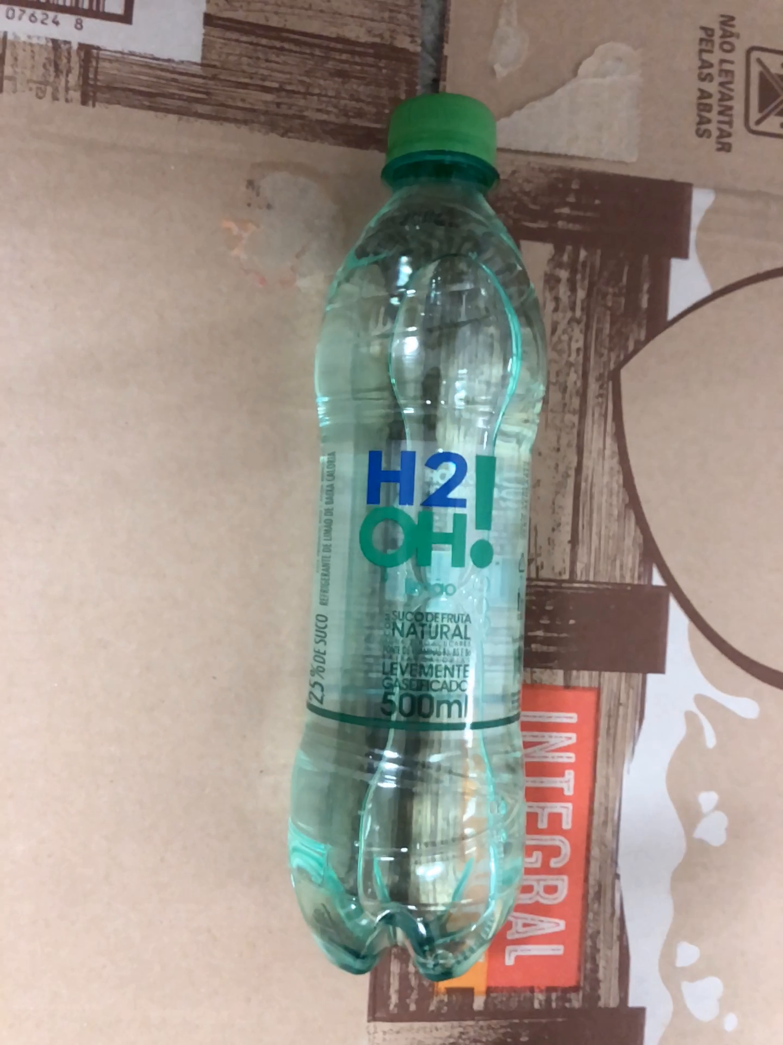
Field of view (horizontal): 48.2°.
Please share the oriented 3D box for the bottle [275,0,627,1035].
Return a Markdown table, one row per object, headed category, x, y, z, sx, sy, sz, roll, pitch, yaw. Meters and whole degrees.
| category | x | y | z | sx | sy | sz | roll | pitch | yaw |
| --- | --- | --- | --- | --- | --- | --- | --- | --- | --- |
| bottle | 0.014 | -0.005 | 0.236 | 0.070 | 0.050 | 0.250 | 4 | 87 | -12 |
